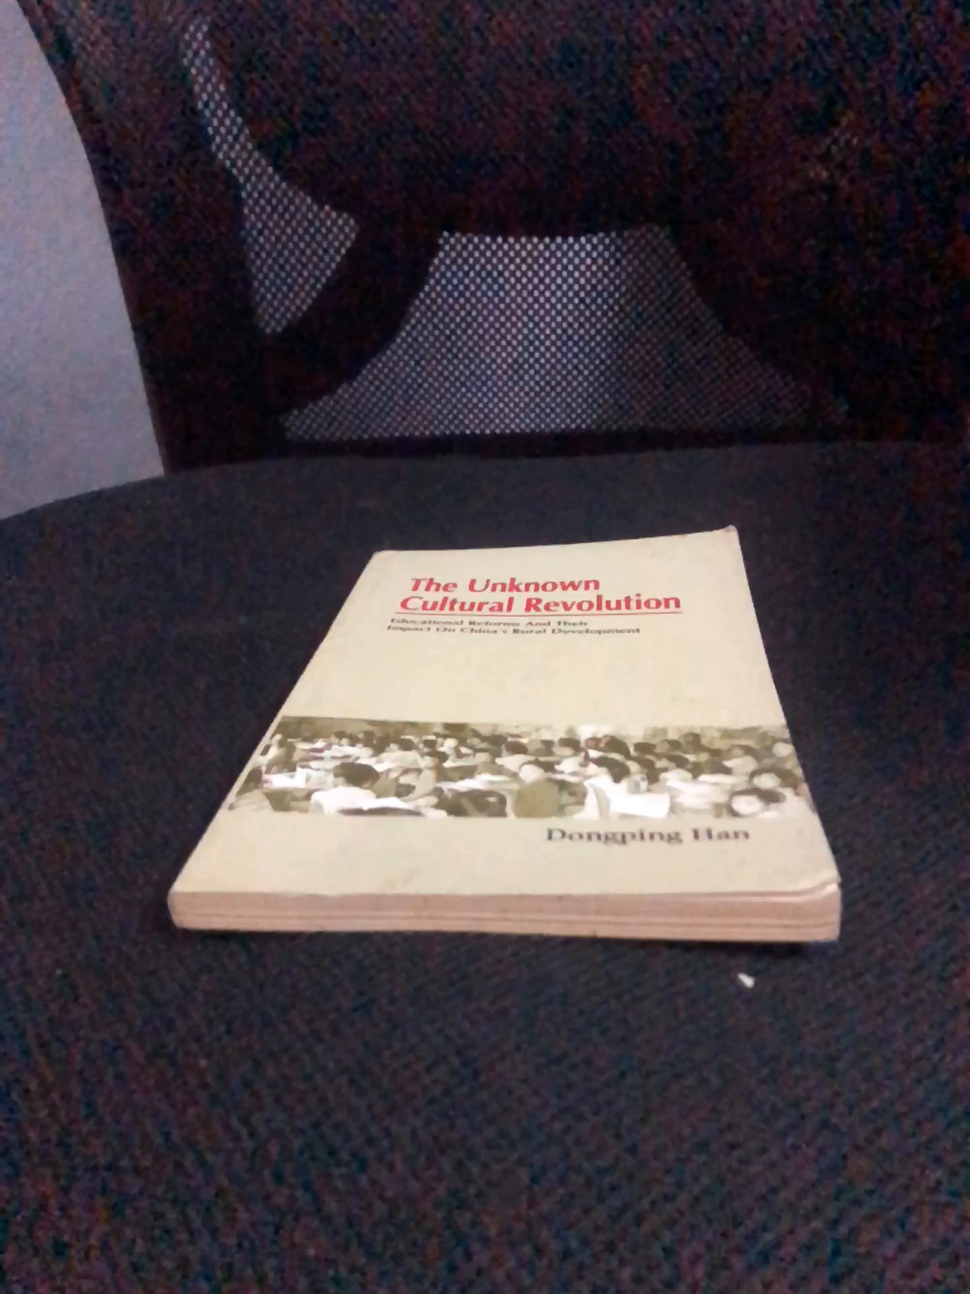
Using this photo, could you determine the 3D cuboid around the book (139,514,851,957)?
[{"bbox_3d":[0.010,0.010,0.328,0.154,0.017,0.215,-2,28,7],"label":"book"}]
